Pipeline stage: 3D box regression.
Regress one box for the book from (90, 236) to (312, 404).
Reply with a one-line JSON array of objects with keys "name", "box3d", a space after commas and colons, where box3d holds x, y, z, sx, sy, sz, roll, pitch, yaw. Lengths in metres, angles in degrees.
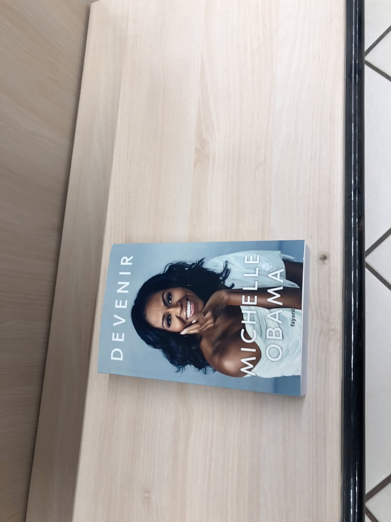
[{"name": "book", "box3d": [0.004, 0.059, 0.484, 0.240, 0.040, 0.163, 0, 78, 21]}]
